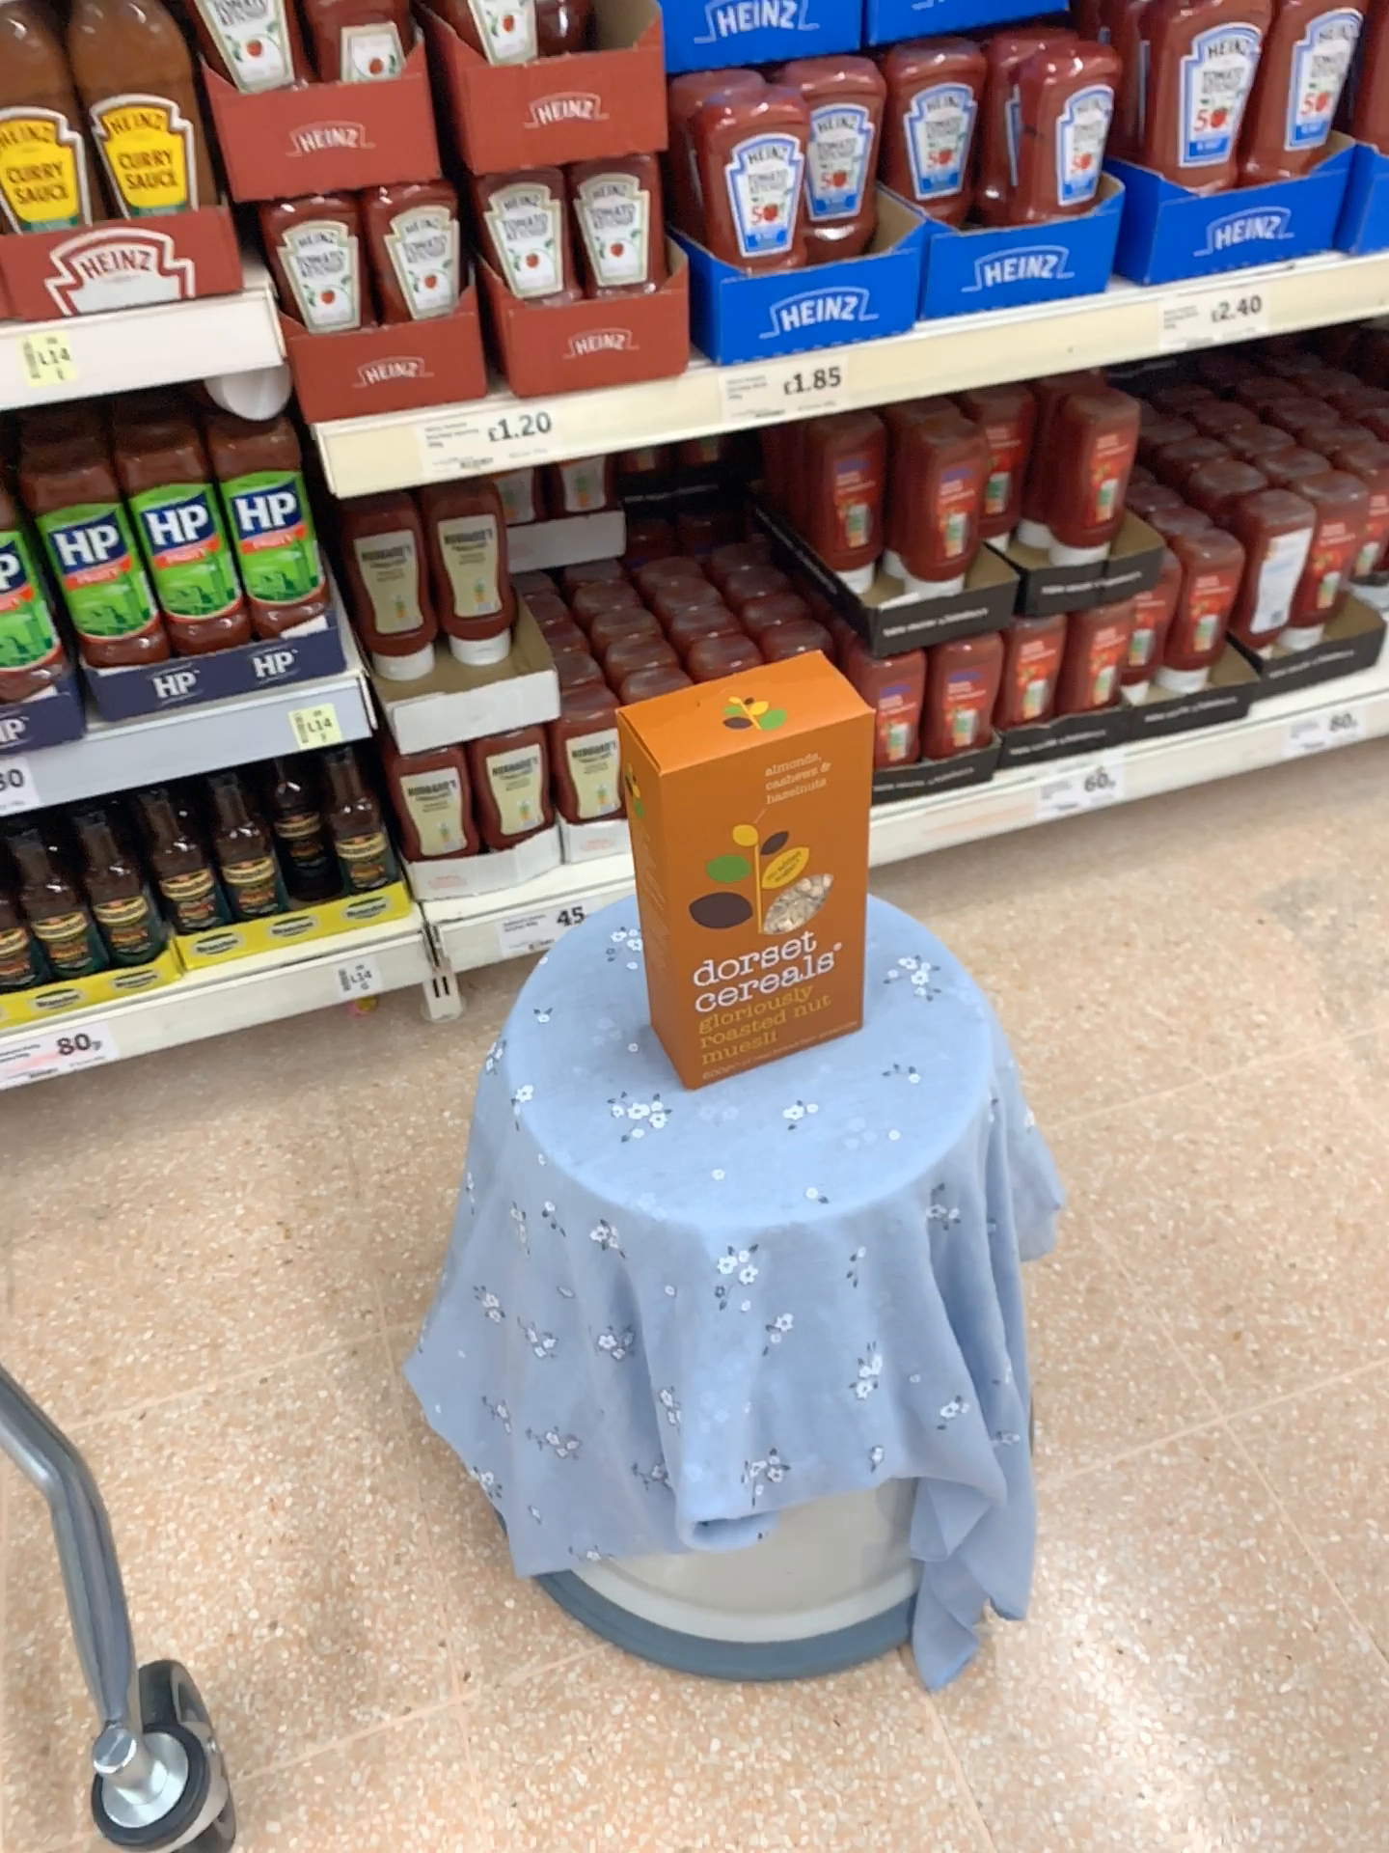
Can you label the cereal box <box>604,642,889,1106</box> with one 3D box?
[{"bbox_3d":[0.029,-0.023,0.768,0.120,0.228,0.071,-18,44,-16],"label":"cereal box"}]
